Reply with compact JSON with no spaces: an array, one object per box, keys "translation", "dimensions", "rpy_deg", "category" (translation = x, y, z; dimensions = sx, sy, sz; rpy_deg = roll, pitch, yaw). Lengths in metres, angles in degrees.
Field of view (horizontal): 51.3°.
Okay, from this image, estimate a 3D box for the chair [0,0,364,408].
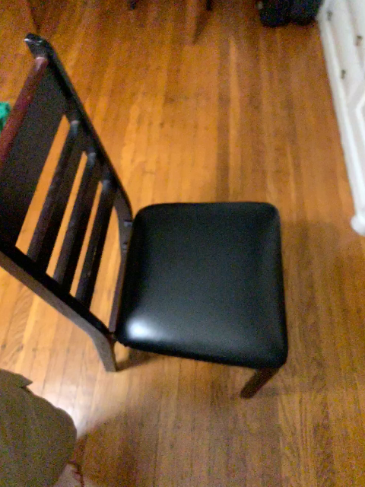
[{"translation":[0.023,0.037,0.835],"dimensions":[0.550,0.867,0.492],"rpy_deg":[4,61,-1],"category":"chair"}]
